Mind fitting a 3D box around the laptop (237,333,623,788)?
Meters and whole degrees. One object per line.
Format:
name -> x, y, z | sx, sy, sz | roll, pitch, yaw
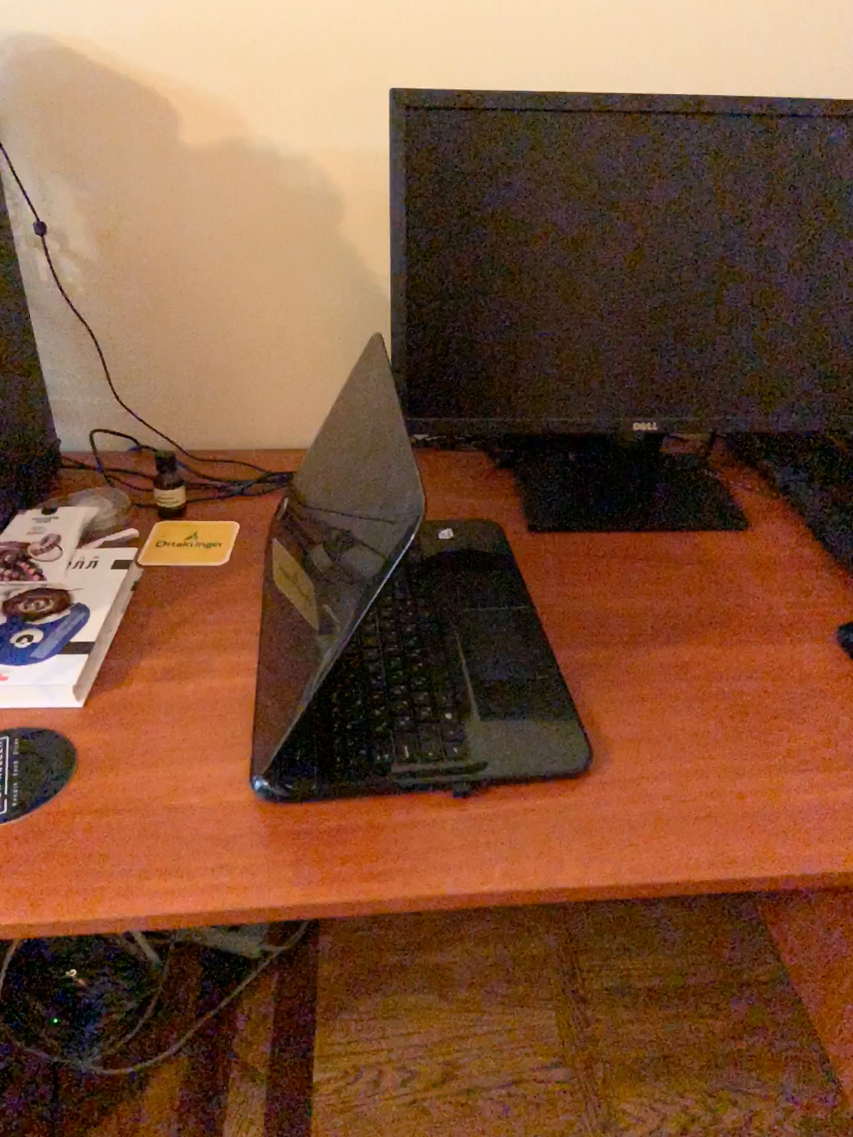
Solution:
laptop -> -0.021, -0.035, 0.690 | 0.222, 0.198, 0.350 | -2, 32, -7
